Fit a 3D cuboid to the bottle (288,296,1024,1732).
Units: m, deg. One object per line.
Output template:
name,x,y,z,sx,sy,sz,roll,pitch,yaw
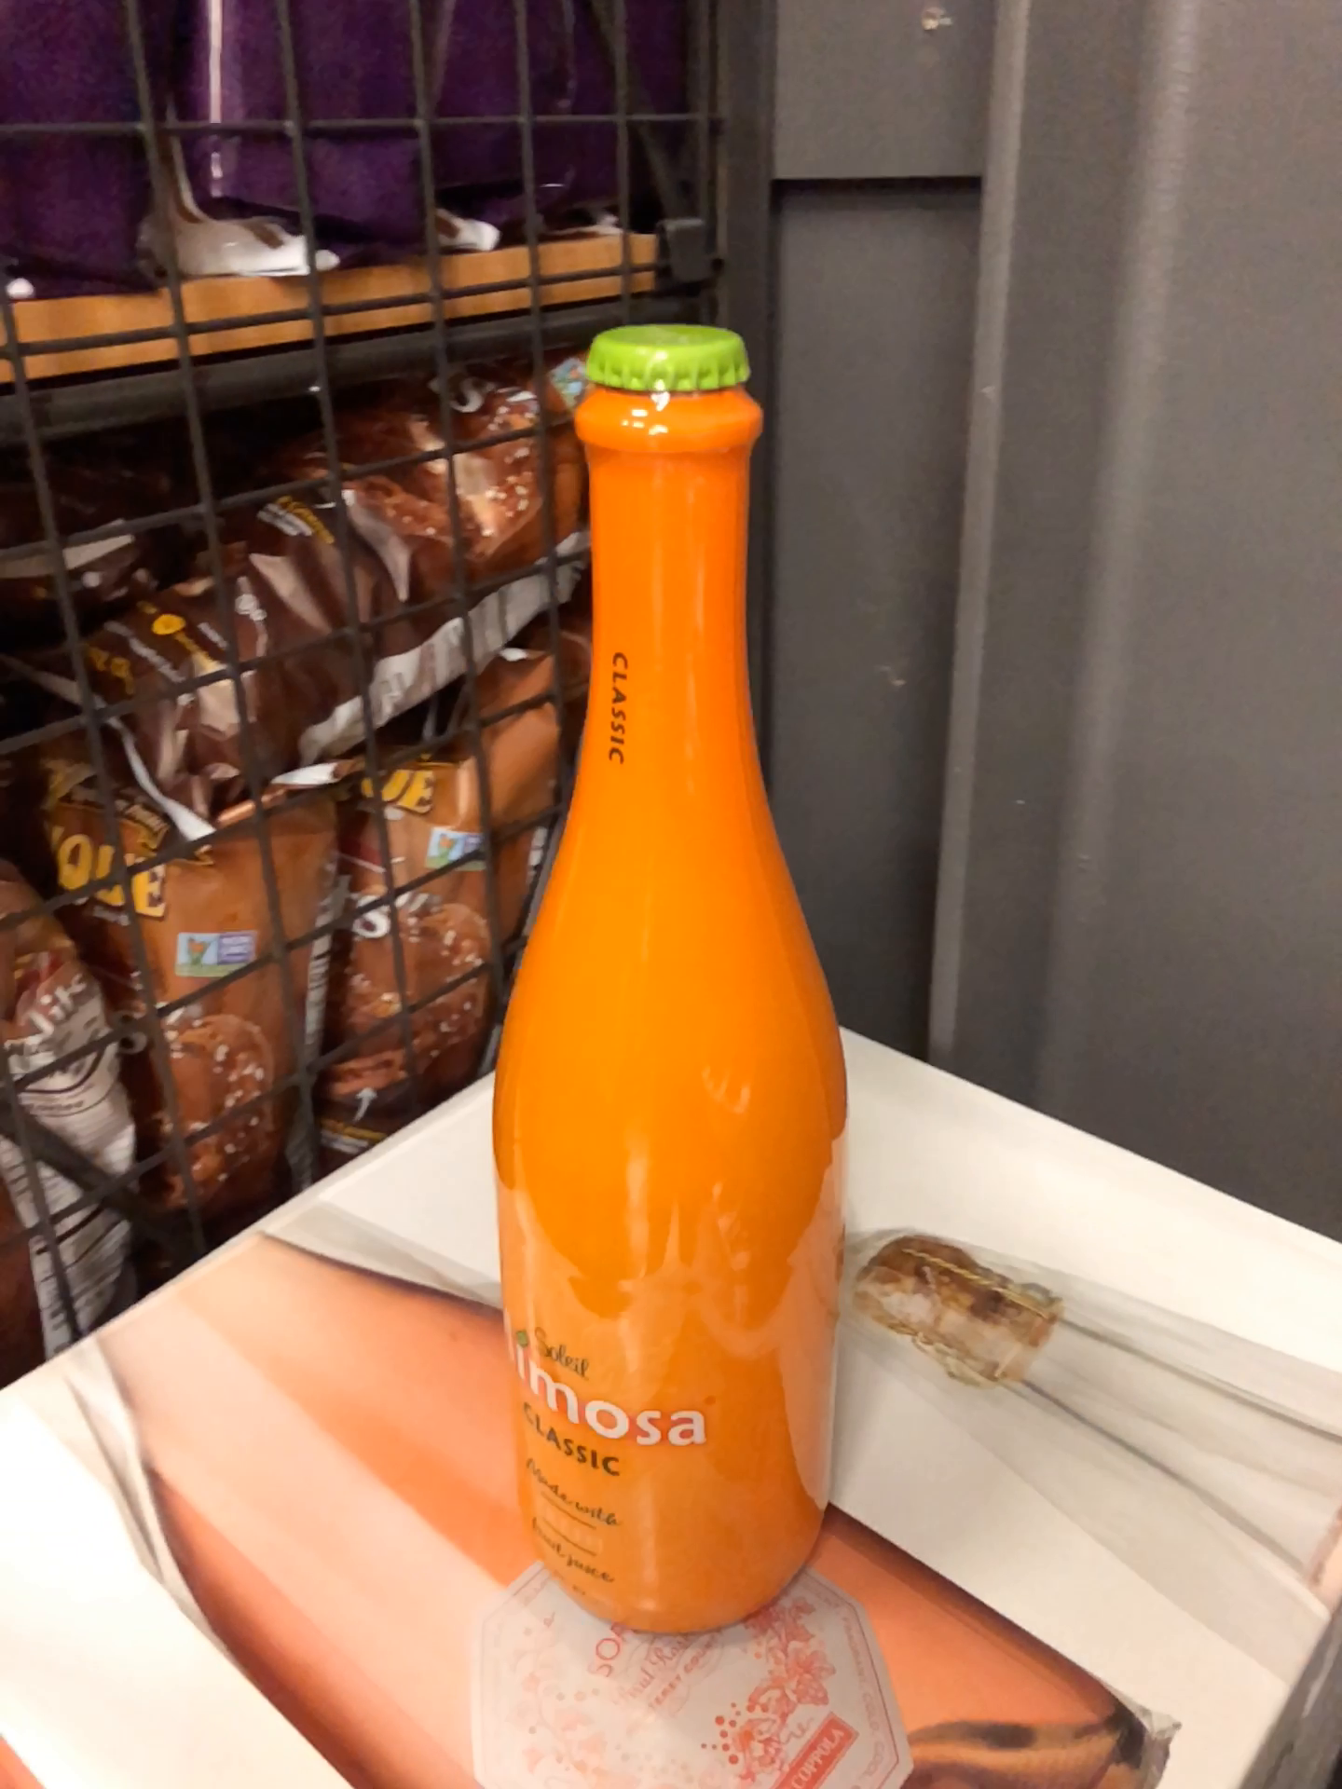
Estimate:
bottle,0.003,0.028,0.315,0.090,0.279,0.090,-1,26,1
